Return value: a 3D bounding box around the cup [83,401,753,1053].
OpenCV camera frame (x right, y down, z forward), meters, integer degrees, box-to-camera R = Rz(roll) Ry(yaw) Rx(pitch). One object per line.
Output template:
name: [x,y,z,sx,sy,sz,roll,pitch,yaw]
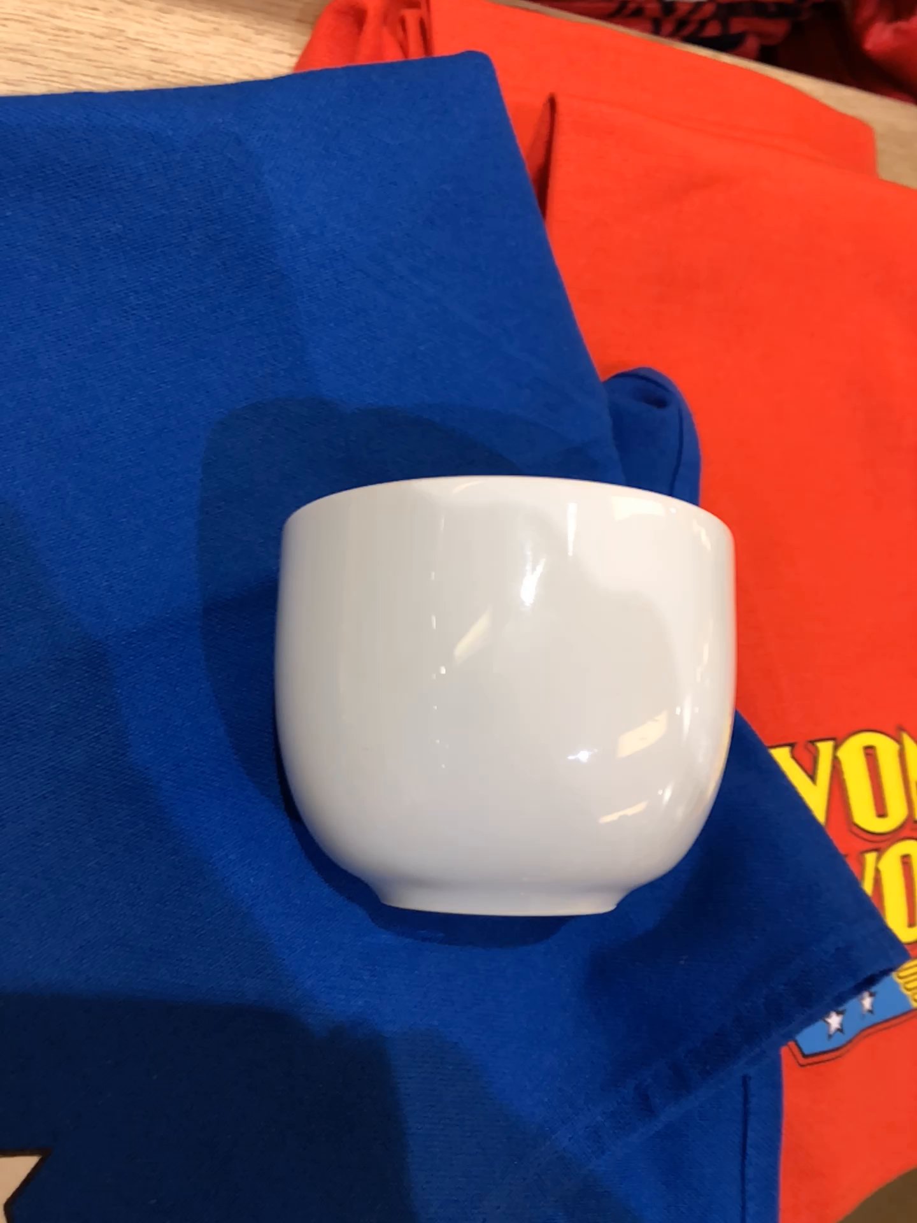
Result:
cup: [0.006,0.027,0.217,0.131,0.080,0.090,22,69,-59]
